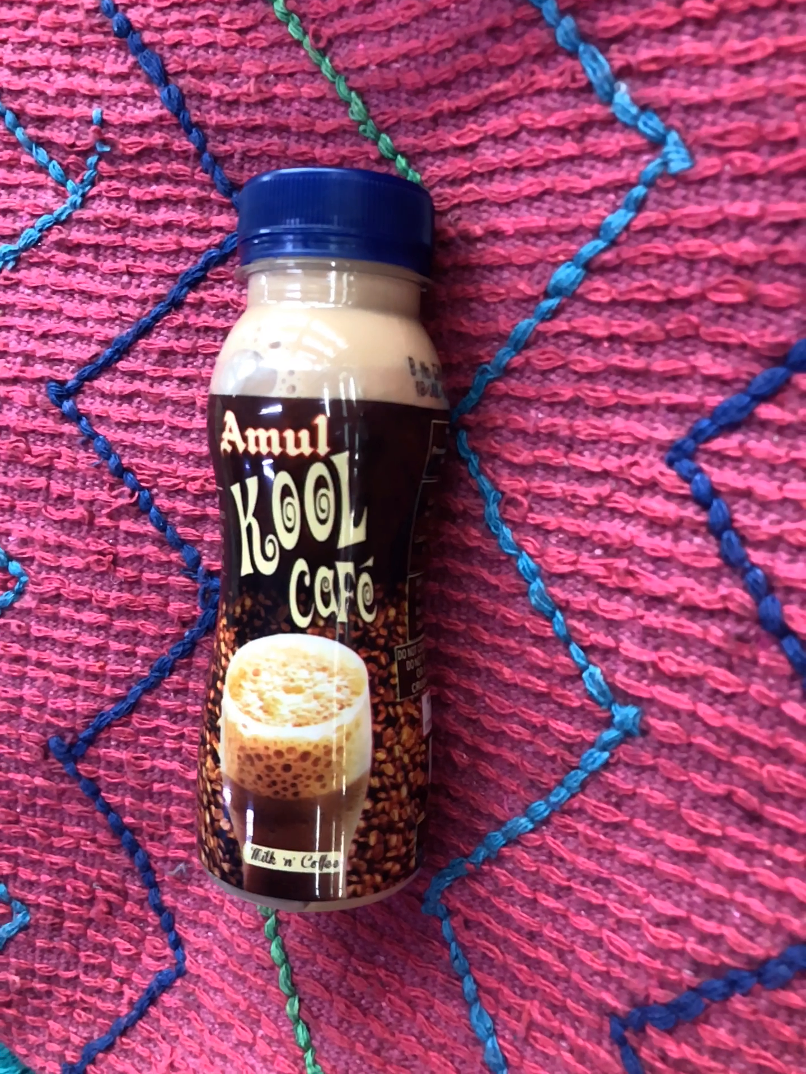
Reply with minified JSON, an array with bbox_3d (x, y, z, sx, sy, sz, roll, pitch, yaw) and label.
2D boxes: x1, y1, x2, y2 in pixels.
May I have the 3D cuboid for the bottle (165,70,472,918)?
[{"bbox_3d":[-0.016,-0.007,0.191,0.050,0.060,0.150,2,94,0],"label":"bottle"}]
